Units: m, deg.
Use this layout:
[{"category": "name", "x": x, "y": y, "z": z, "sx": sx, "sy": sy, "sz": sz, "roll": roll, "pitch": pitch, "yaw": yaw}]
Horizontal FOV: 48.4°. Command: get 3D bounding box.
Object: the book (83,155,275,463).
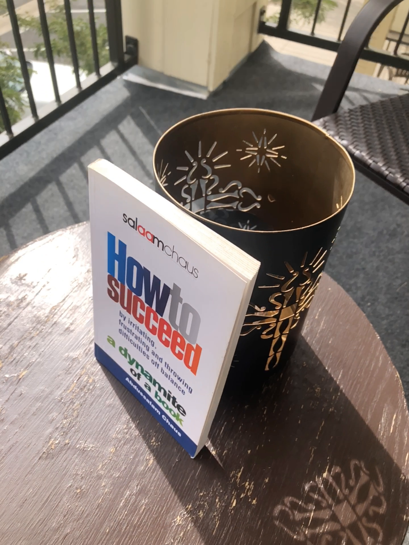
[{"category": "book", "x": -0.035, "y": 0.040, "z": 0.334, "sx": 0.138, "sy": 0.208, "sz": 0.018, "roll": 37, "pitch": 49, "yaw": 24}]
